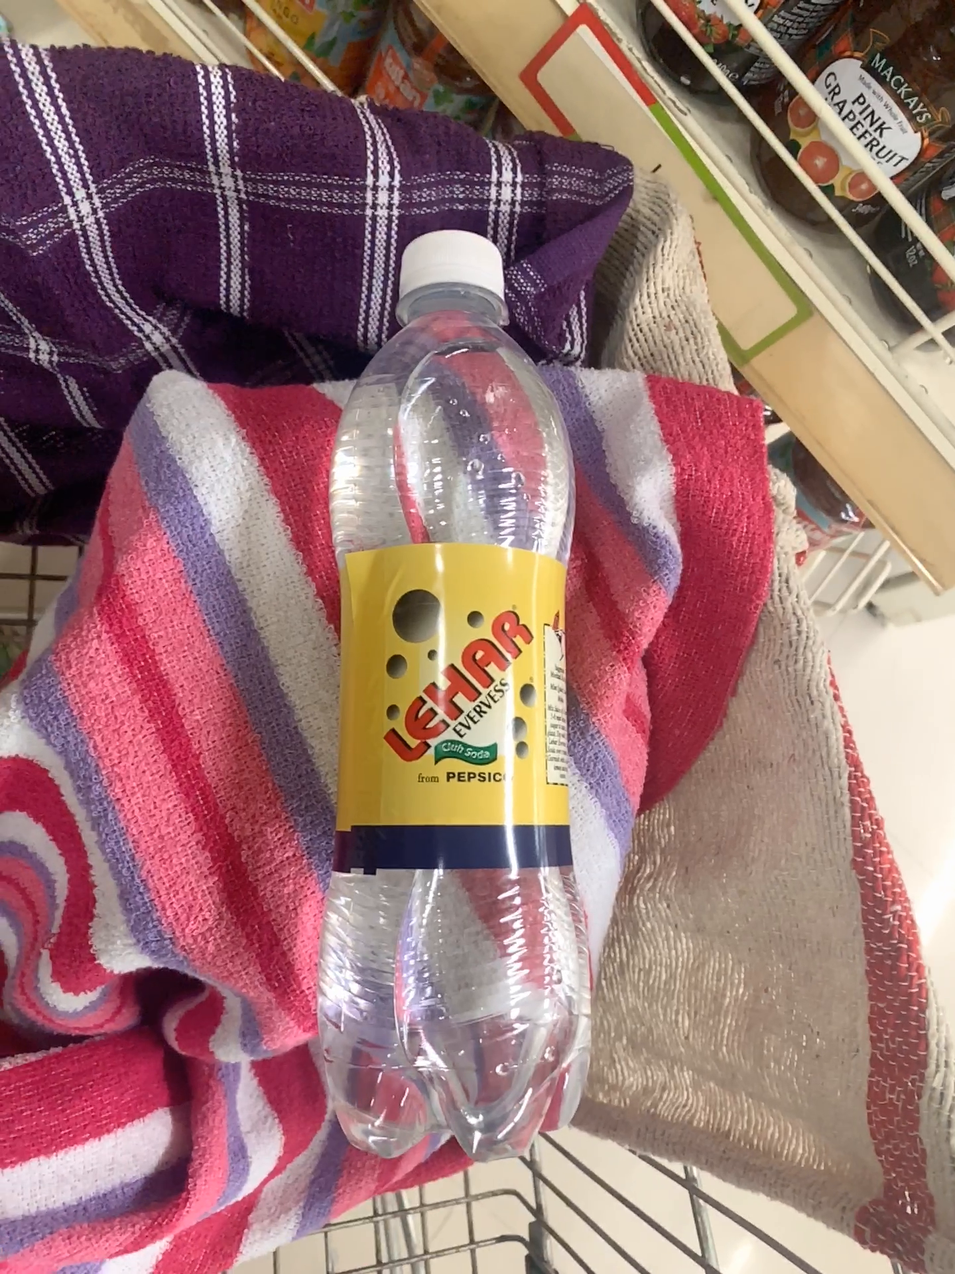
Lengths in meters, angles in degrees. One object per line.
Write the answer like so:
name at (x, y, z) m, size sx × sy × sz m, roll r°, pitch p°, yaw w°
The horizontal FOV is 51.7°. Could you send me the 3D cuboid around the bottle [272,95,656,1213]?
bottle at (-0.008, -0.001, 0.253) m, size 0.070 × 0.070 × 0.240 m, roll 3°, pitch 78°, yaw -21°
